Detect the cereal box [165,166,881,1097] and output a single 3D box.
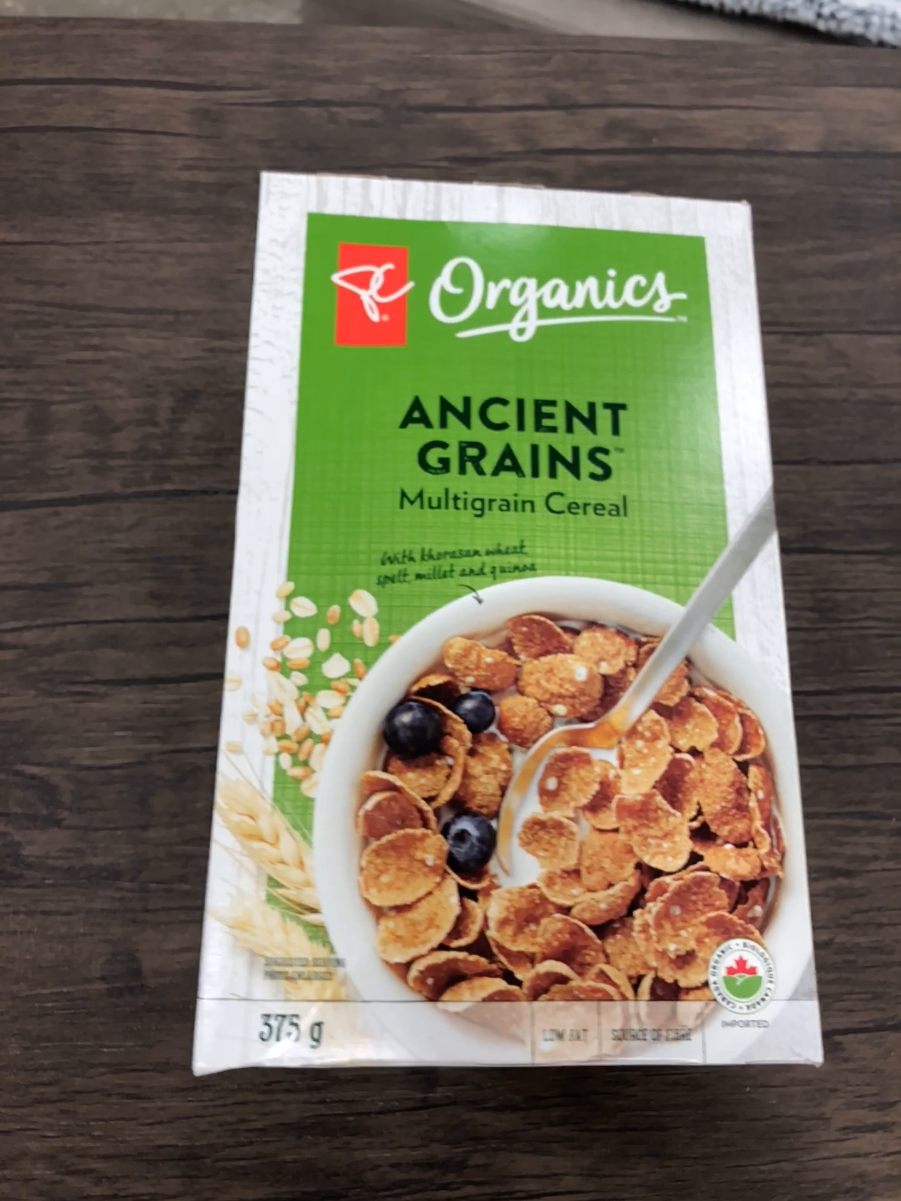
[{"bbox_3d":[0.016,0.004,0.305,0.170,0.070,0.250,1,75,-4],"label":"cereal box"}]
